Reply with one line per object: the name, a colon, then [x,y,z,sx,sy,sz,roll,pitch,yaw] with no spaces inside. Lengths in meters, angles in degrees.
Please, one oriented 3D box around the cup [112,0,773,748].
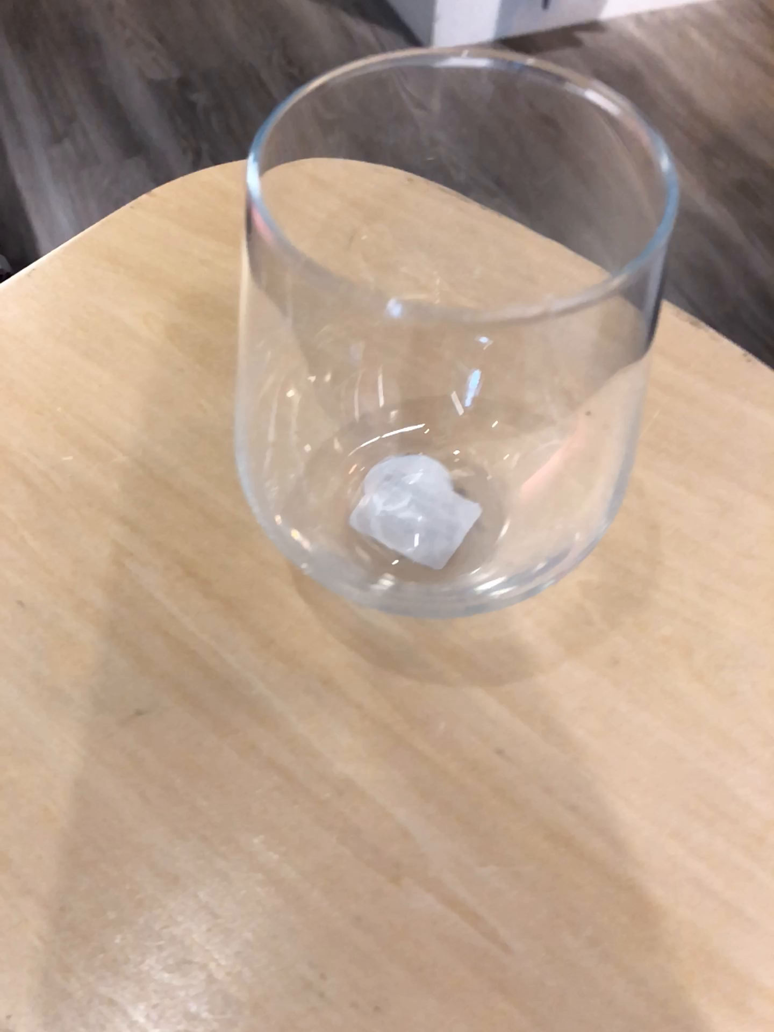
cup: [0.012,-0.028,0.177,0.090,0.100,0.090,2,57,-3]
